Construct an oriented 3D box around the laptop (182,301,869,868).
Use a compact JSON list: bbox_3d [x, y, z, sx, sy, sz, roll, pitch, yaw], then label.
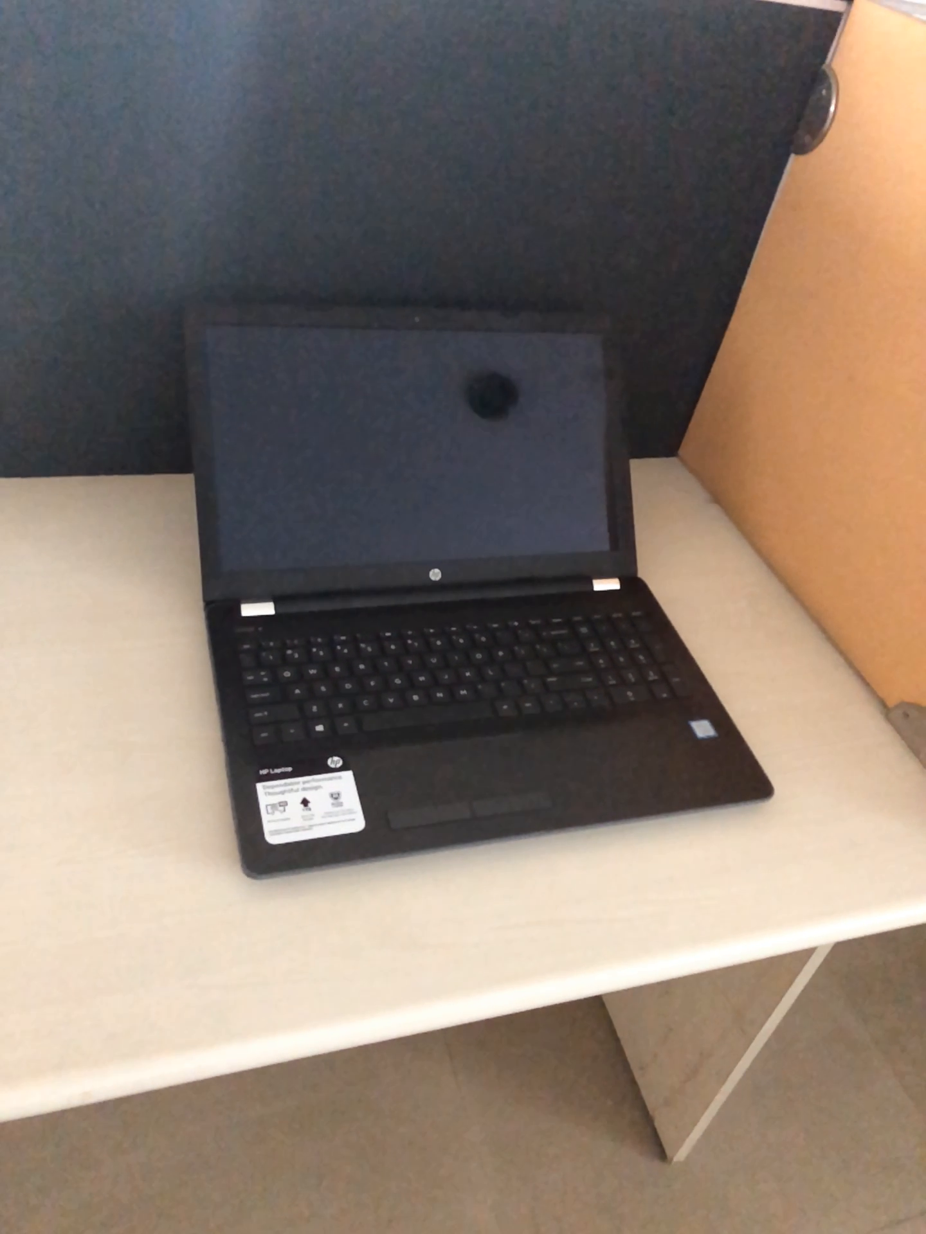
[{"bbox_3d":[0.003,-0.060,0.769,0.378,0.173,0.410,-4,43,-19],"label":"laptop"}]
